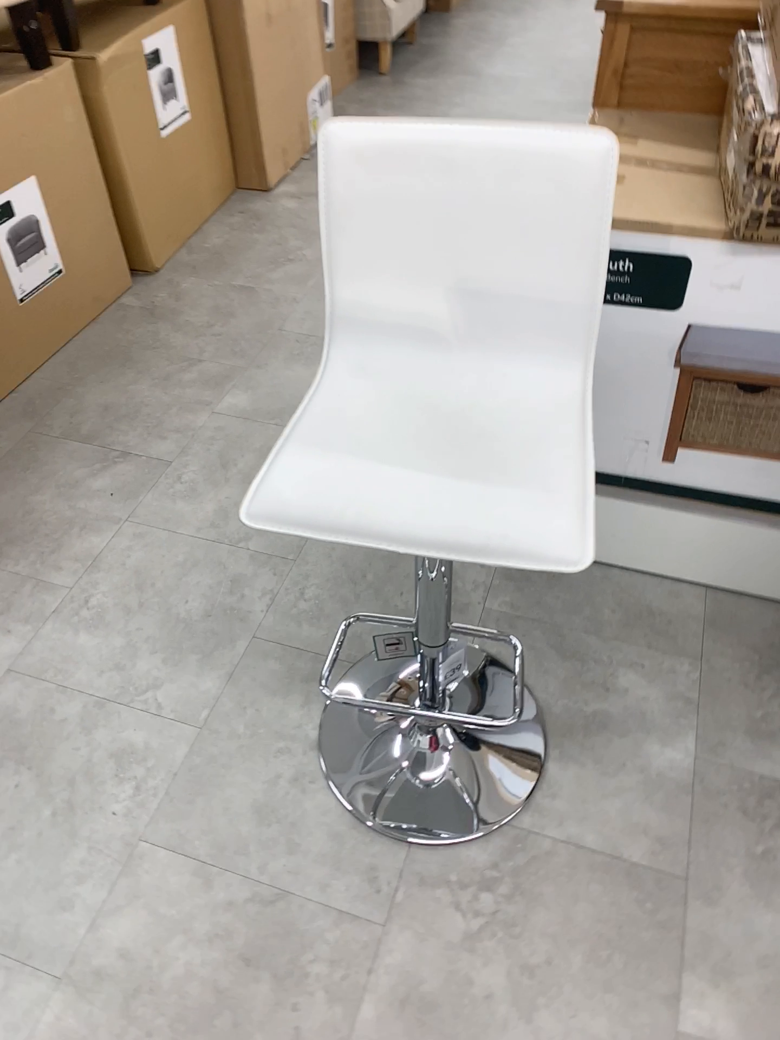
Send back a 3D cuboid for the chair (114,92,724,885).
[{"bbox_3d":[0.069,0.033,1.083,0.459,0.989,0.446,8,46,10],"label":"chair"}]
